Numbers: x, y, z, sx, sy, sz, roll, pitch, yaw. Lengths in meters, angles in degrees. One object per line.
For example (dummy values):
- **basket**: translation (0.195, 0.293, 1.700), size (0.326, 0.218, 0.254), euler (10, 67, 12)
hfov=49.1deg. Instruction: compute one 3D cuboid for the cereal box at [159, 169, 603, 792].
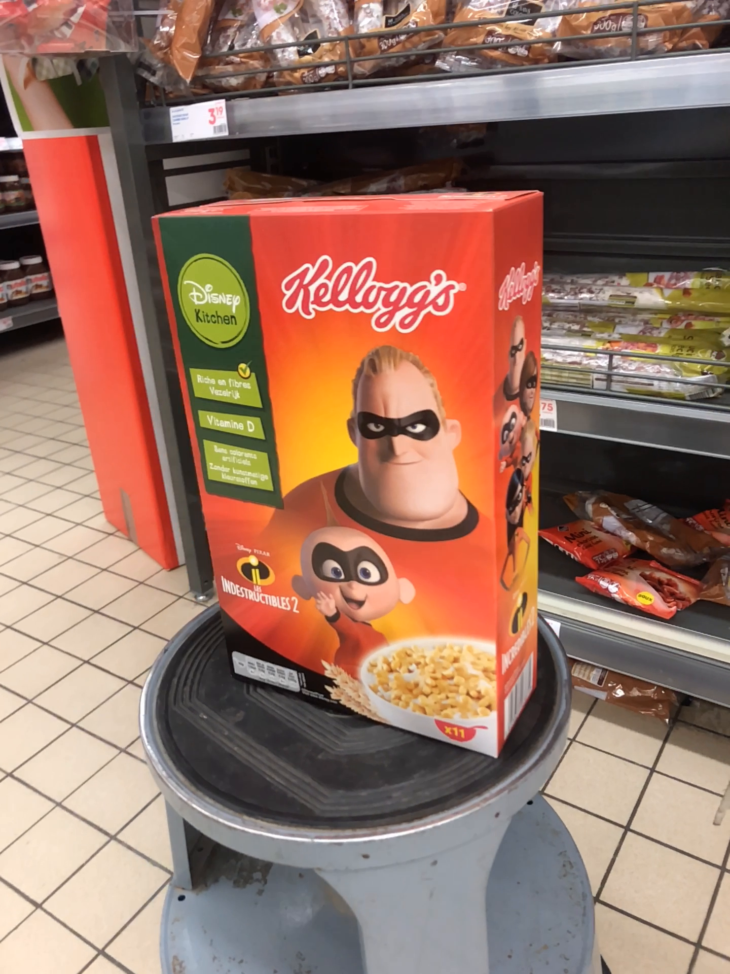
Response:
- **cereal box**: translation (0.013, -0.006, 0.448), size (0.200, 0.308, 0.080), euler (10, 28, 28)
